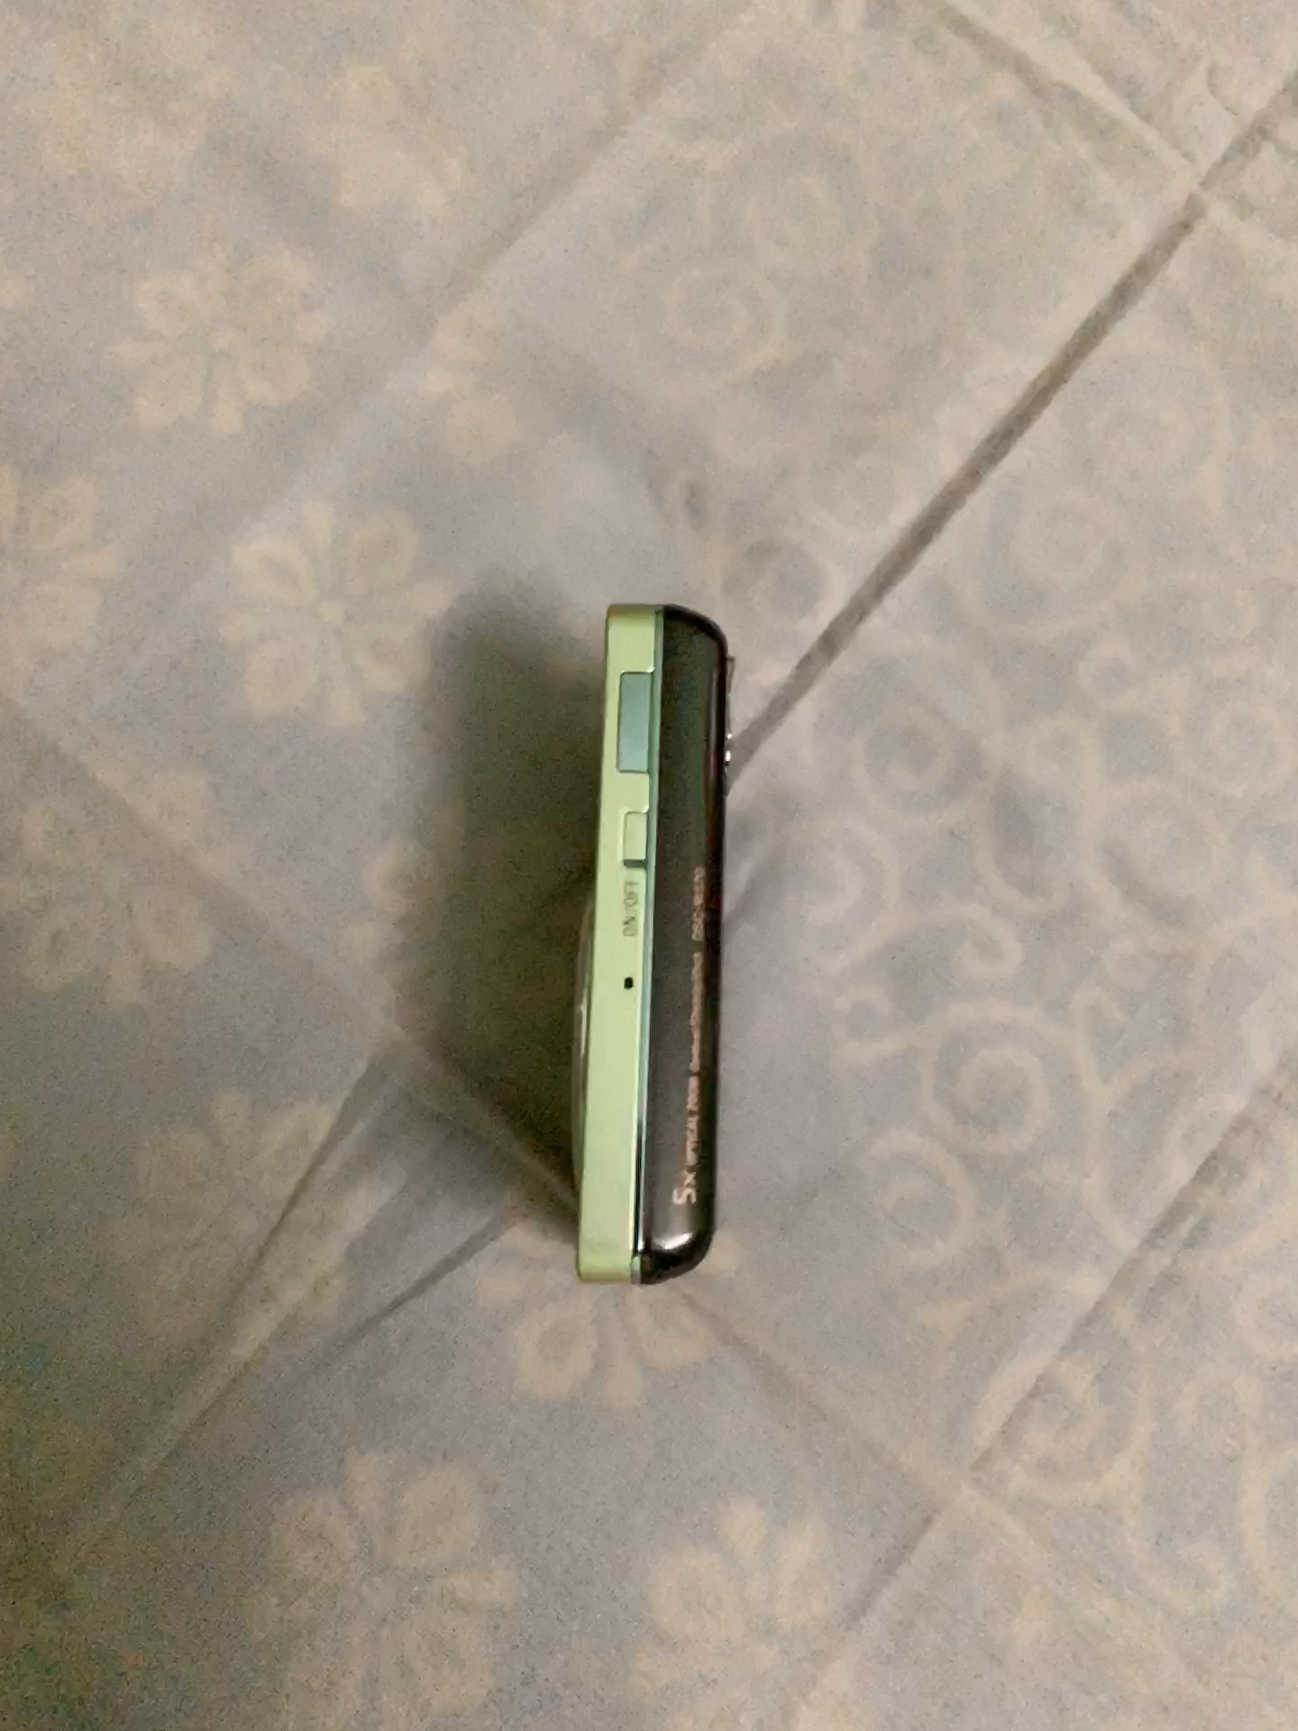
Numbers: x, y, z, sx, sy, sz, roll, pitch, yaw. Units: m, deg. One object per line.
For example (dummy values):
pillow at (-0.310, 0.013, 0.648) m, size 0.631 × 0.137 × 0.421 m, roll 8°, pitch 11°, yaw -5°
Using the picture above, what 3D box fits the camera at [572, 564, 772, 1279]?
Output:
camera at (0.004, 0.011, 0.194) m, size 0.021 × 0.060 × 0.088 m, roll 2°, pitch 76°, yaw 2°
